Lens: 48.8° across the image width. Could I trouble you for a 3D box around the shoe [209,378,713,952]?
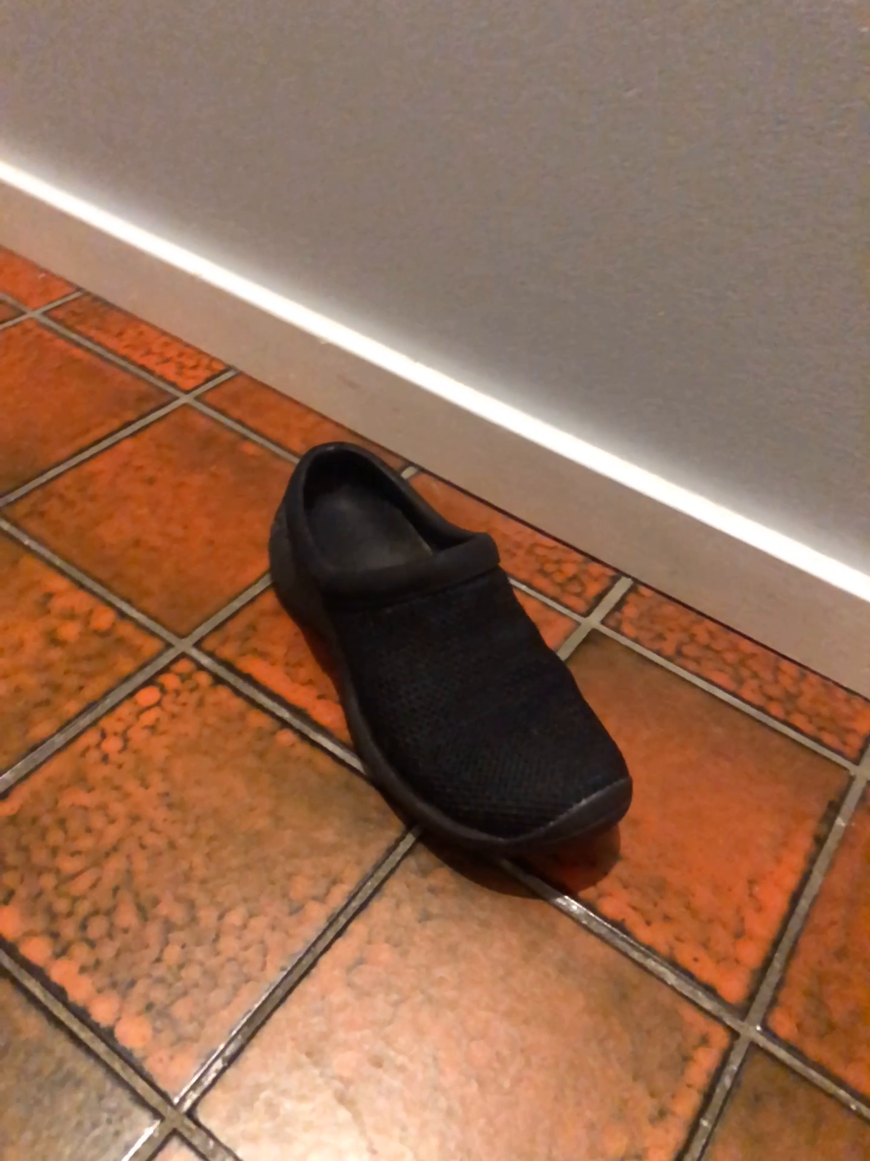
[{"bbox_3d":[-0.007,0.018,0.432,0.100,0.080,0.251,-18,50,-24],"label":"shoe"}]
